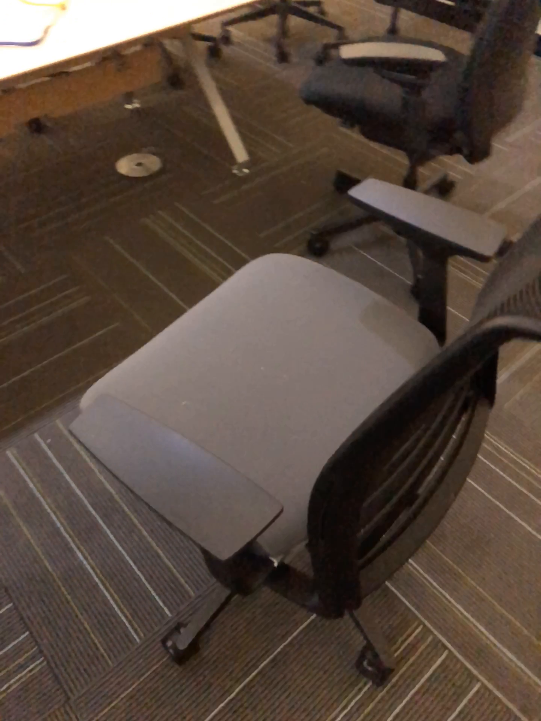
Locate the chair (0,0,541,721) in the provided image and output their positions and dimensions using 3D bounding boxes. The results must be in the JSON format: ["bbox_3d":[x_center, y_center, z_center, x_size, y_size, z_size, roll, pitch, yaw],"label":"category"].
[{"bbox_3d":[0.052,0.013,0.869,0.662,0.856,0.722,27,53,23],"label":"chair"}]
